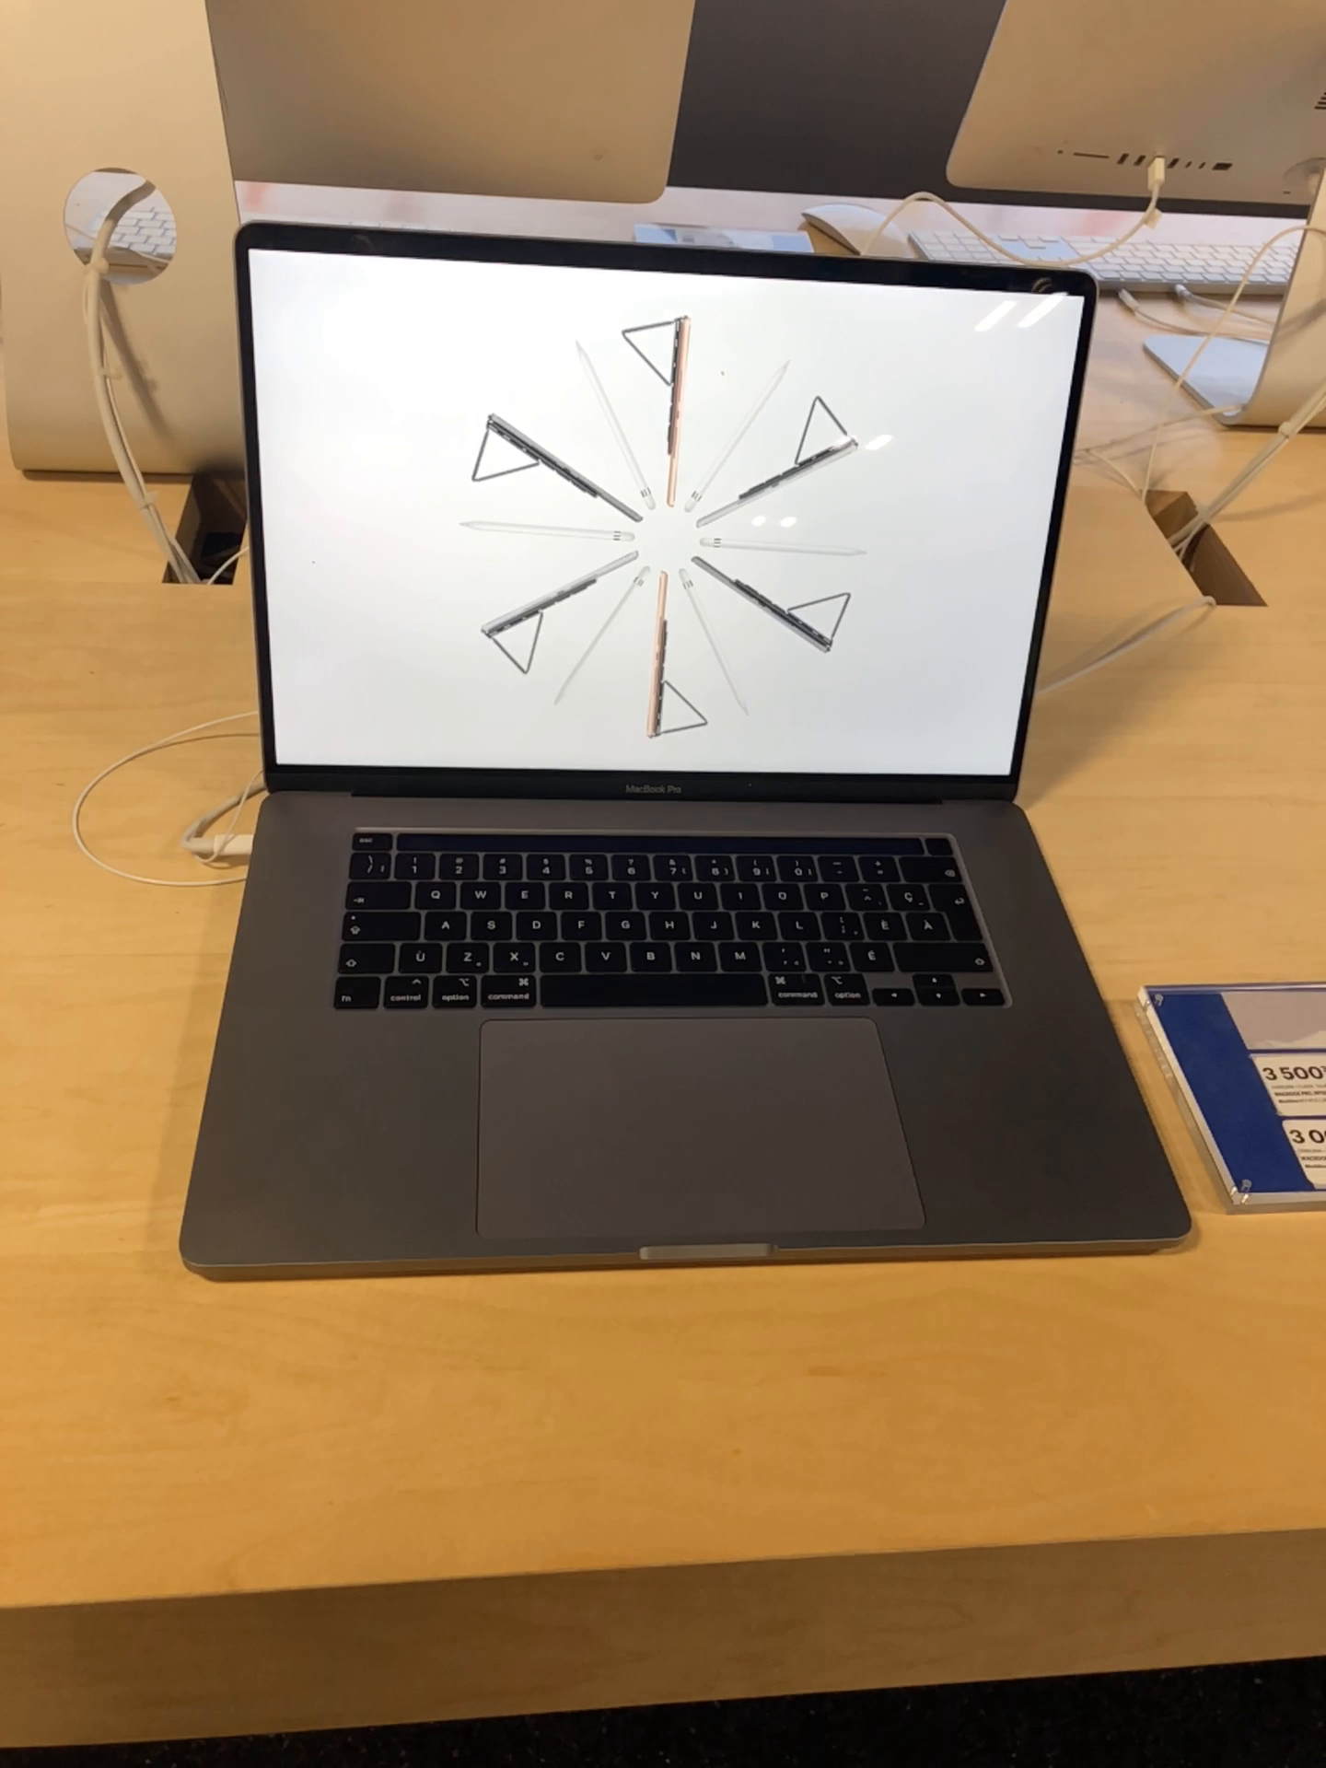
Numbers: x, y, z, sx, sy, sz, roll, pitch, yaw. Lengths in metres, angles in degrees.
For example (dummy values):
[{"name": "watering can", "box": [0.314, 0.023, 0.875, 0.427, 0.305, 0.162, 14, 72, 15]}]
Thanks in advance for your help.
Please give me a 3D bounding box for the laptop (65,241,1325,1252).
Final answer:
[{"name": "laptop", "box": [0.011, -0.062, 0.557, 0.352, 0.230, 0.316, 0, 42, -7]}]
